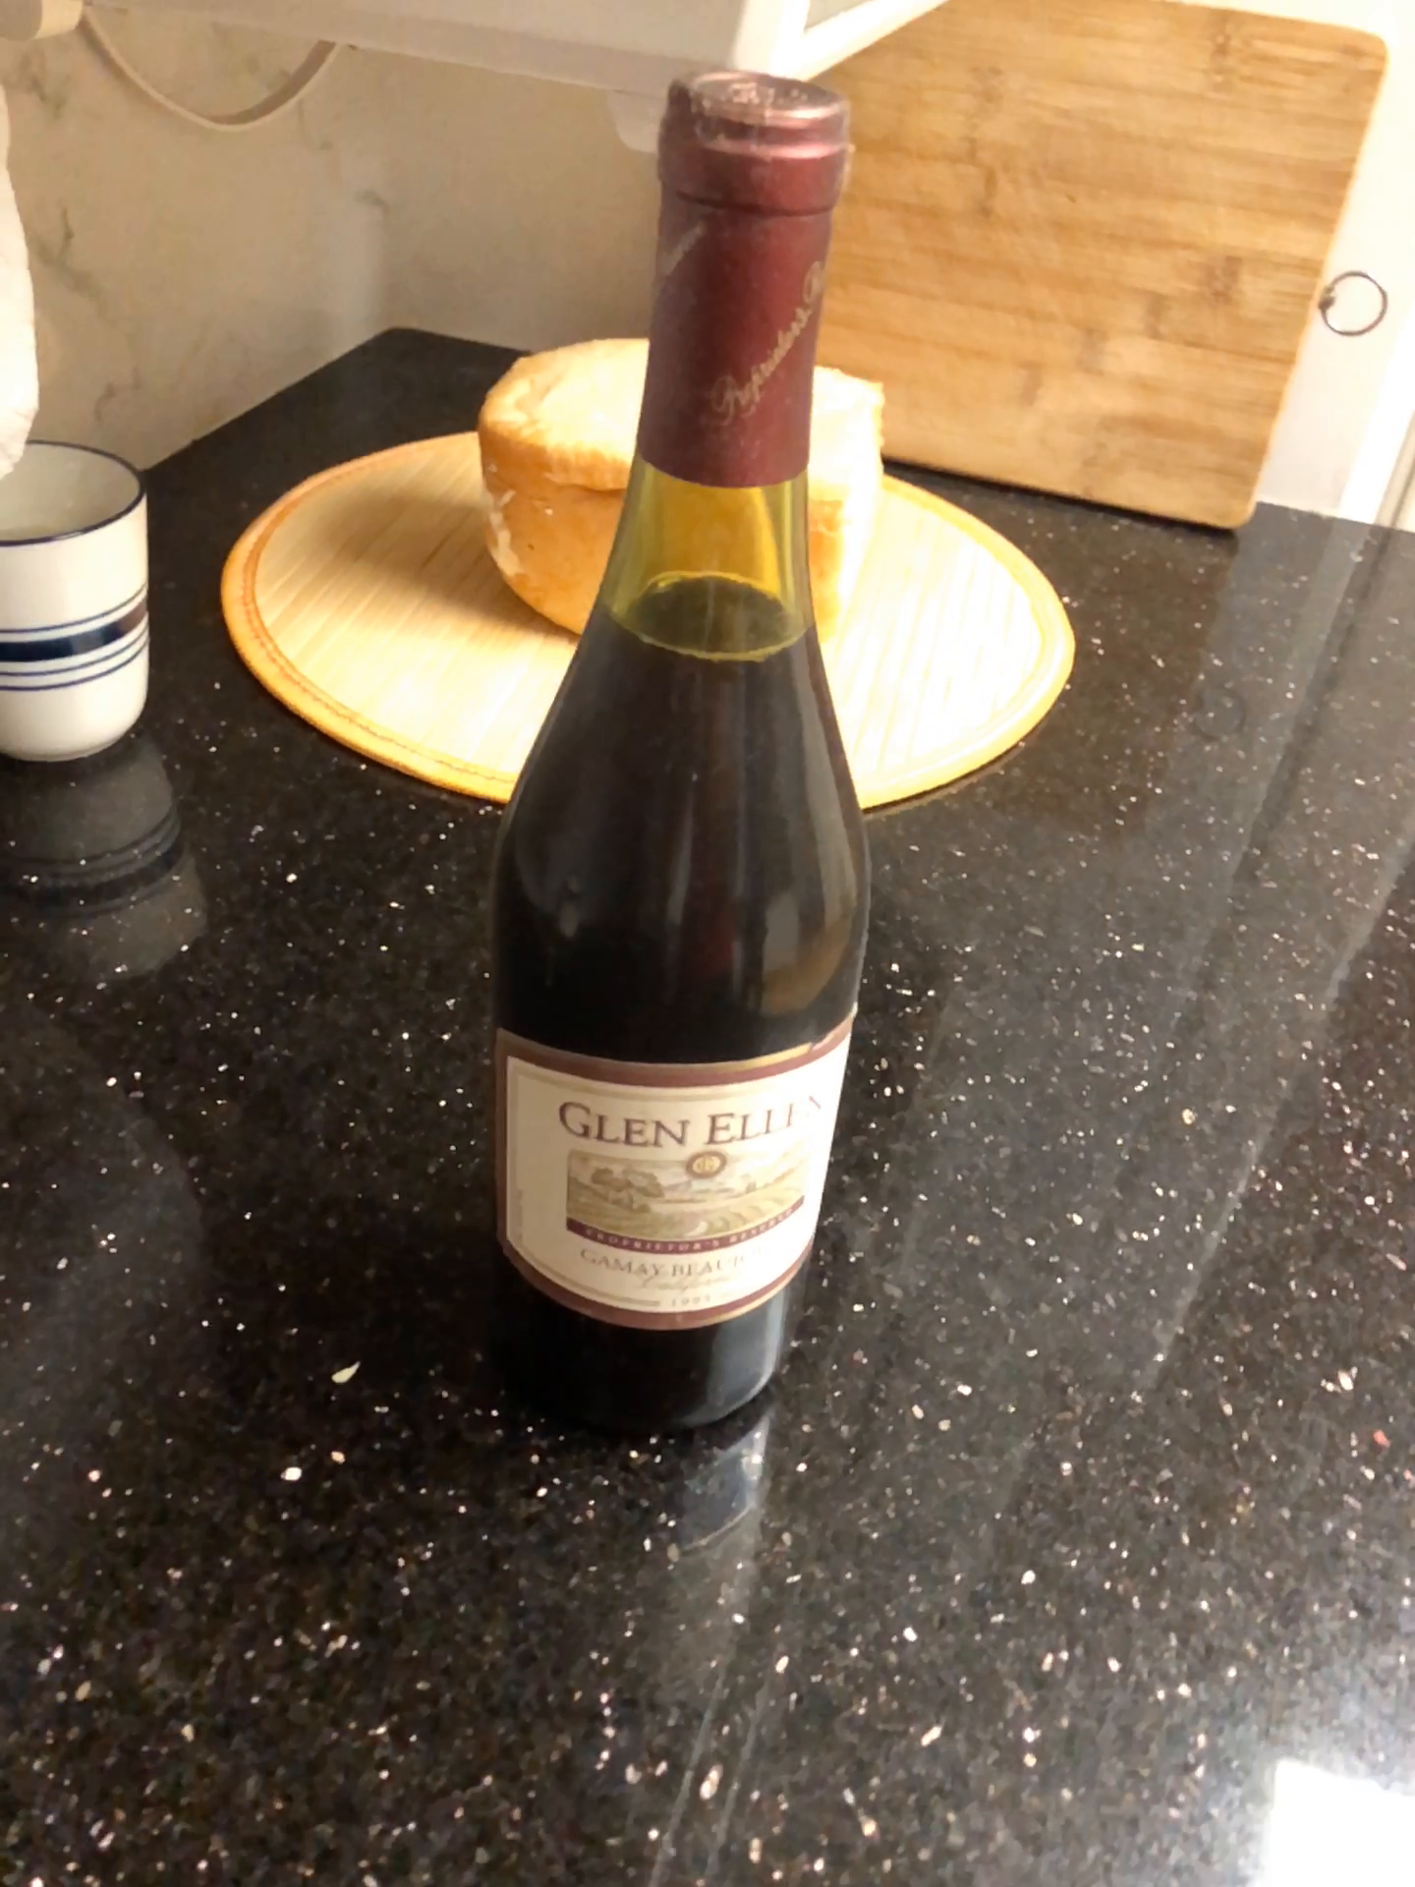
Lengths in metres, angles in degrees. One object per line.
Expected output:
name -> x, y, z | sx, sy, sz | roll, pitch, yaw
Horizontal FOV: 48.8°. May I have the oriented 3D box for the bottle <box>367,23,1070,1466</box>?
bottle -> -0.011, -0.014, 0.324 | 0.090, 0.288, 0.091 | 4, 39, -3
